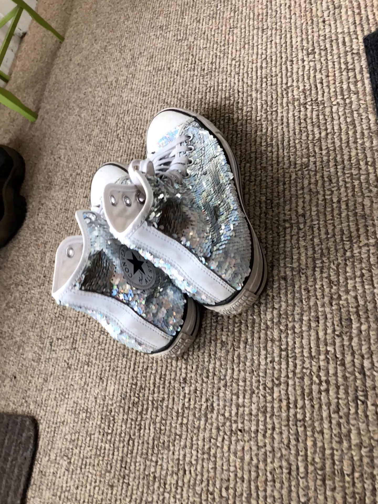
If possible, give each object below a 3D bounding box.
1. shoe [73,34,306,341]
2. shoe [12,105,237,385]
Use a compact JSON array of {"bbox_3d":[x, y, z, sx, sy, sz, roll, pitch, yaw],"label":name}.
[{"bbox_3d":[-0.016,-0.071,0.407,0.111,0.127,0.265,-36,47,20],"label":"shoe"},{"bbox_3d":[-0.083,-0.017,0.443,0.111,0.137,0.265,-42,45,14],"label":"shoe"}]
